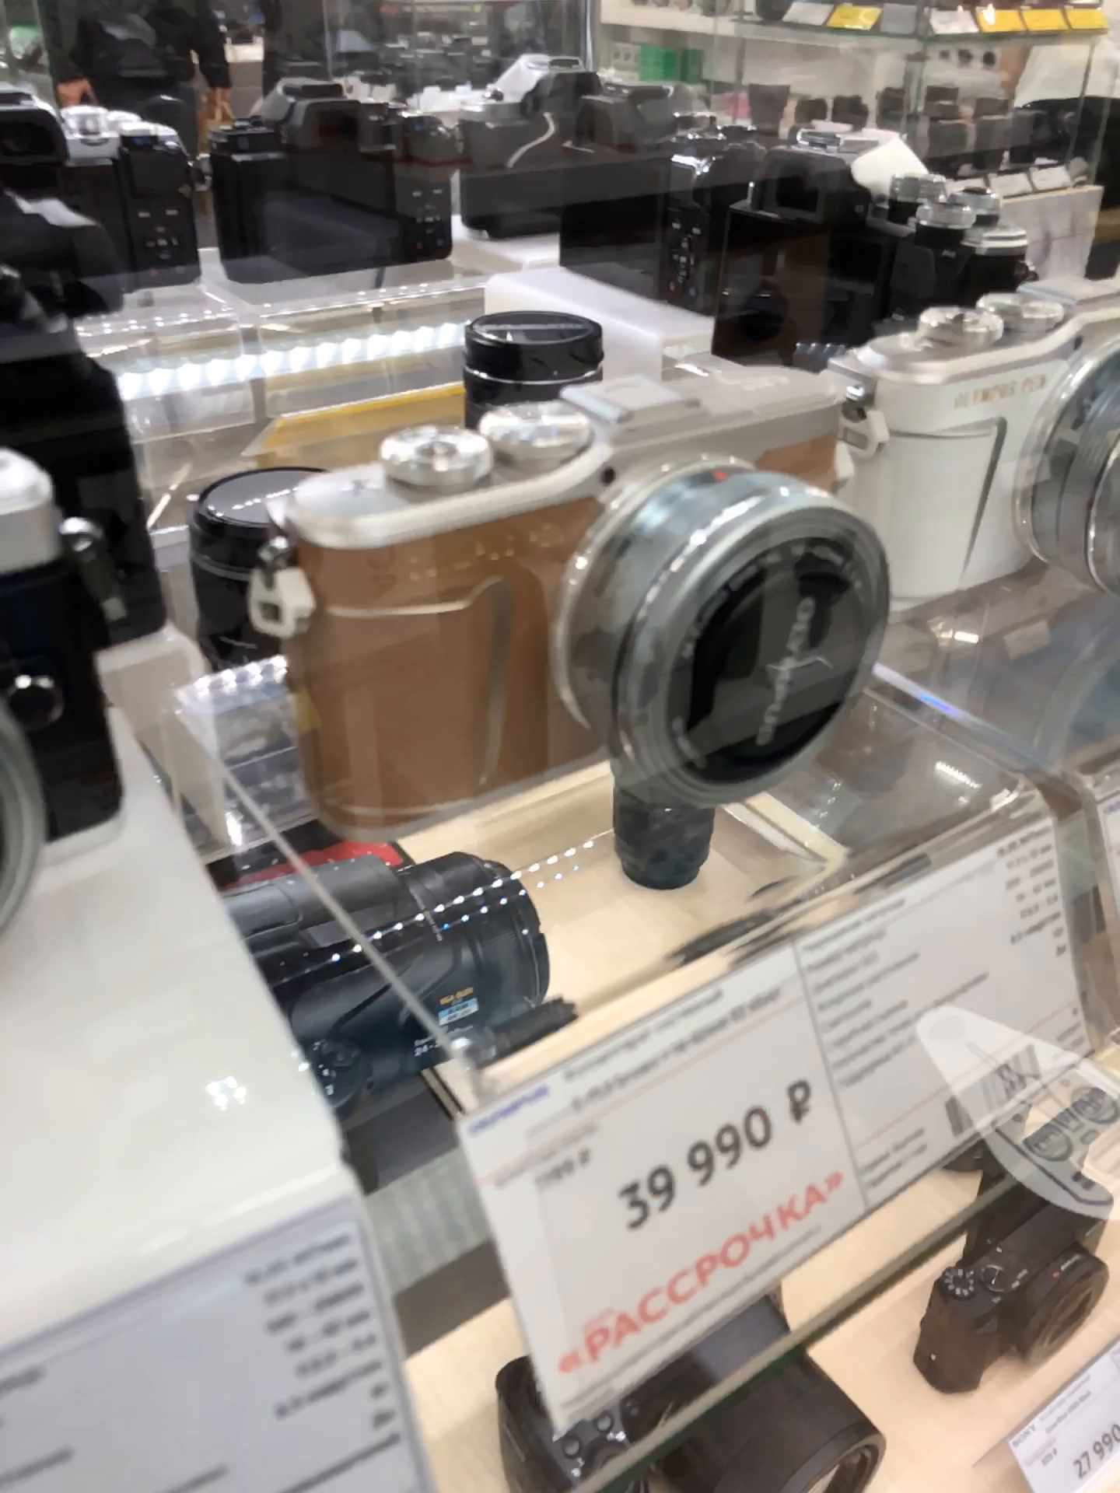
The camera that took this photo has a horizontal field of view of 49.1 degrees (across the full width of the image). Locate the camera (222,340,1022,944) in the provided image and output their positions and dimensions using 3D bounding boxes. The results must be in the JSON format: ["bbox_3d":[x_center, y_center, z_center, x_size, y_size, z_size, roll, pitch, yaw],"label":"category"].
[{"bbox_3d":[0.013,-0.027,0.221,0.122,0.060,0.060,-20,38,-29],"label":"camera"}]

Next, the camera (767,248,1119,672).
[{"bbox_3d":[0.117,-0.072,0.284,0.122,0.060,0.060,-20,38,-29],"label":"camera"}]
